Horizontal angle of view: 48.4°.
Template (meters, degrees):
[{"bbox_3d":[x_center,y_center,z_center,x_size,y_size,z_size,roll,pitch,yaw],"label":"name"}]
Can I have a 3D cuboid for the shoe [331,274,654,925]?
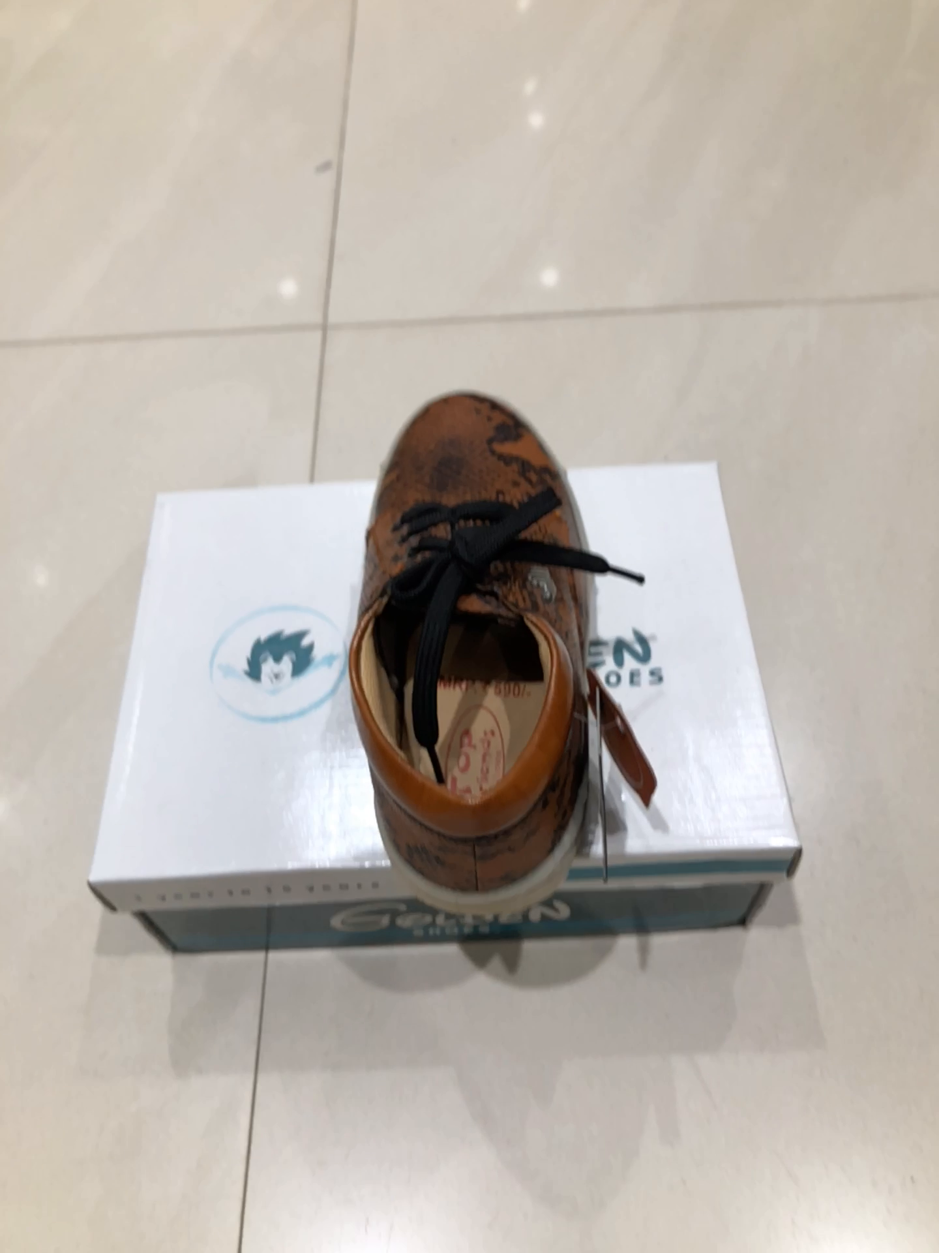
[{"bbox_3d":[0.006,-0.014,0.352,0.080,0.090,0.201,-3,56,2],"label":"shoe"}]
